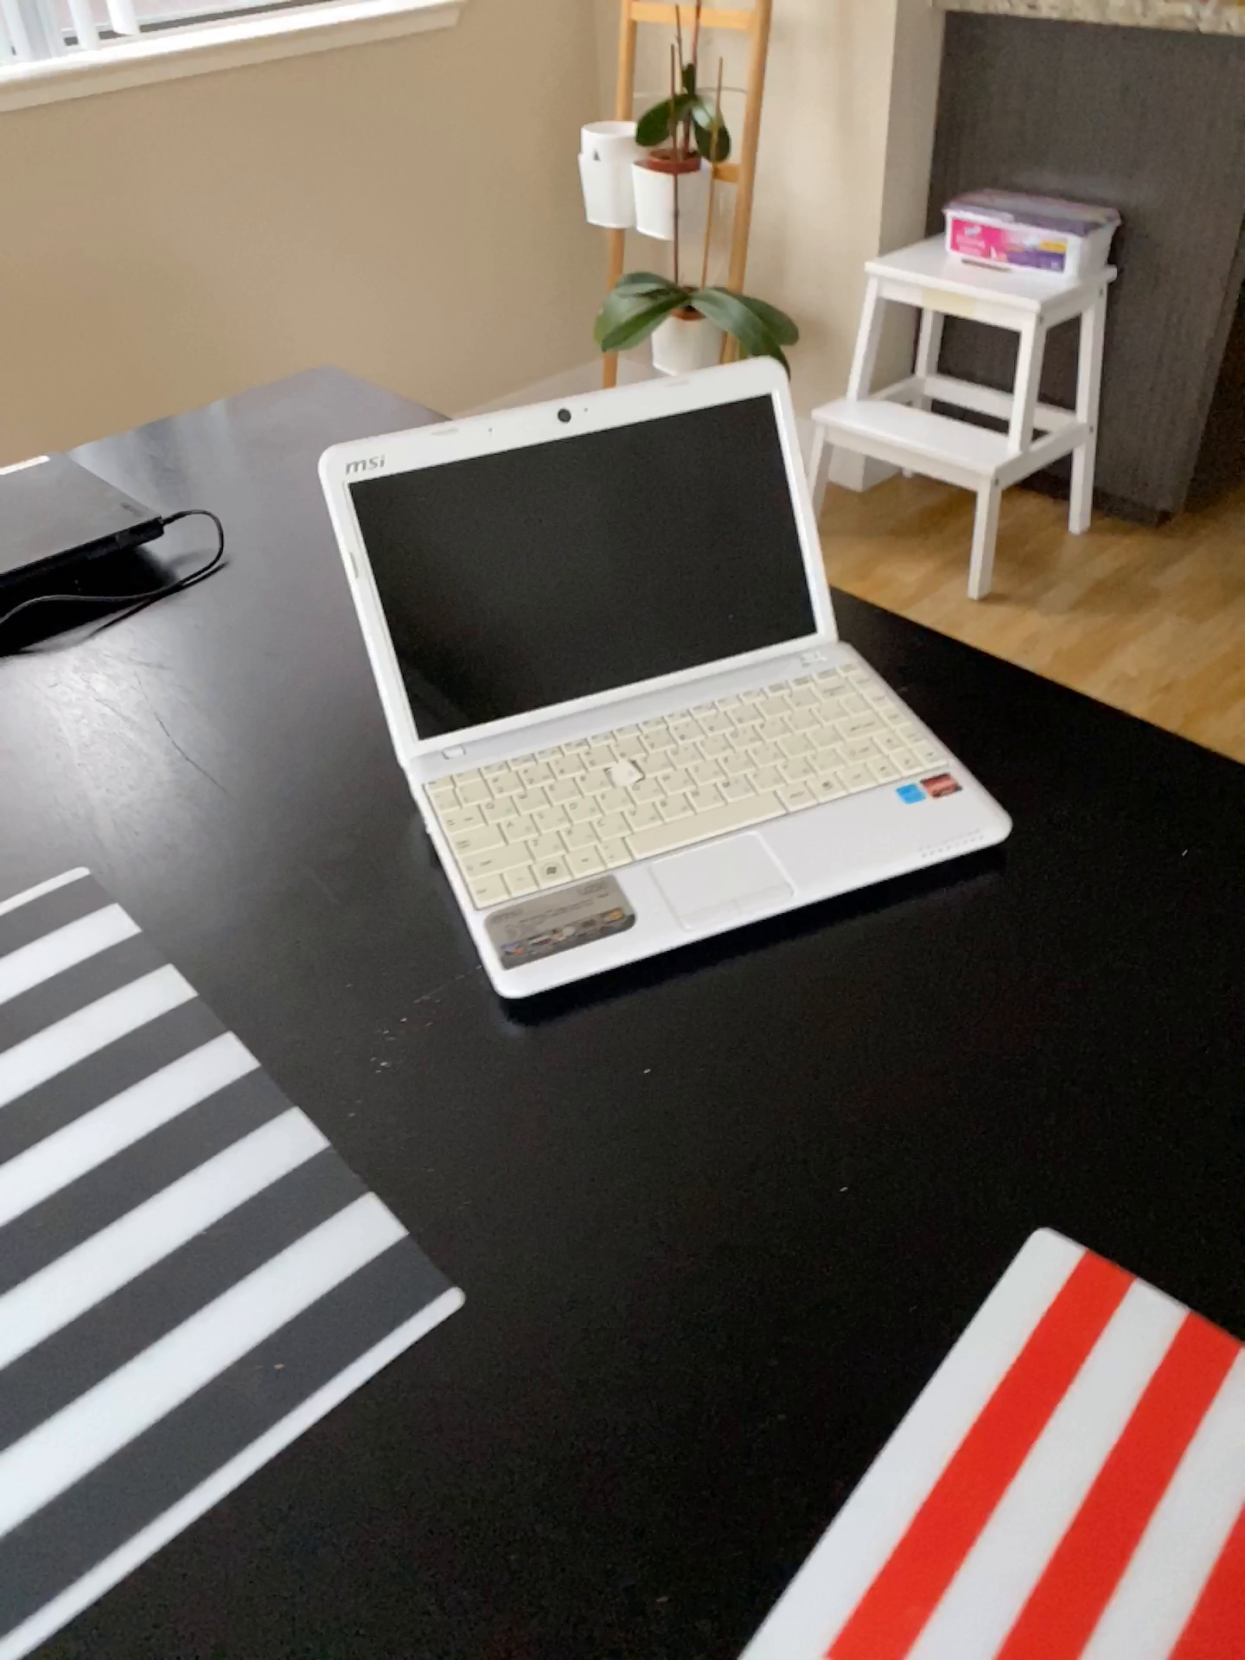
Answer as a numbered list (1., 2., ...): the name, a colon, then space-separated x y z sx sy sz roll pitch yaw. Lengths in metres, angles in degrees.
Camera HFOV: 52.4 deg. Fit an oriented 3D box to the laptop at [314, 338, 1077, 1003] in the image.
1. laptop: 0.022 -0.113 0.704 0.294 0.153 0.302 -17 45 -15
